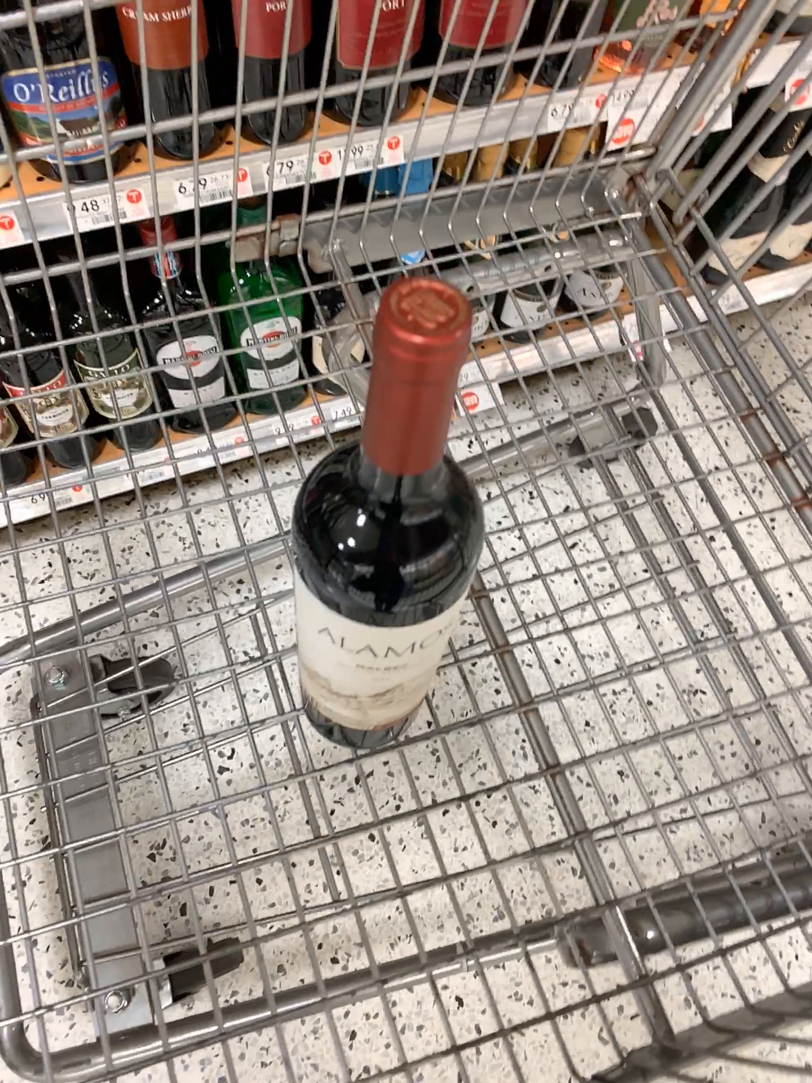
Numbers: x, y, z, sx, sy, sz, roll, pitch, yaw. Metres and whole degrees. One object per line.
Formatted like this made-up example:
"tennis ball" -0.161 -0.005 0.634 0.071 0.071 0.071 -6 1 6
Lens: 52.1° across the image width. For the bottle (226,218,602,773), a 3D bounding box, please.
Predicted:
"bottle" -0.010 0.018 0.347 0.090 0.298 0.081 4 61 -4
